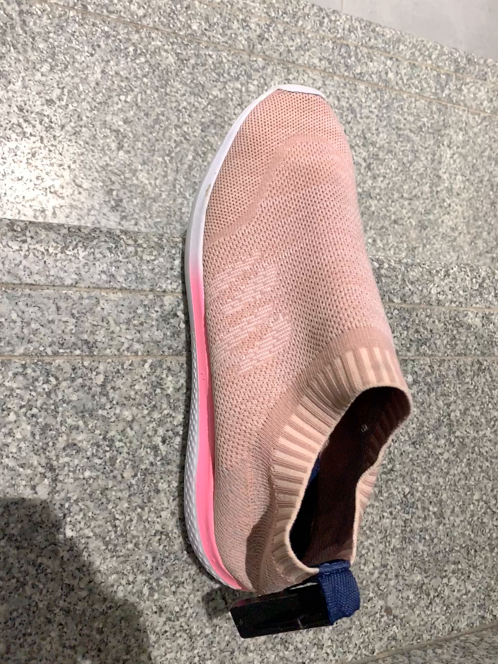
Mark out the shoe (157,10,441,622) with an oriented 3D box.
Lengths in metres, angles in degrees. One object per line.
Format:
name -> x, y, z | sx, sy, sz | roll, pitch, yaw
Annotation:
shoe -> 0.022, -0.004, 0.265 | 0.100, 0.080, 0.250 | 6, 88, -23
